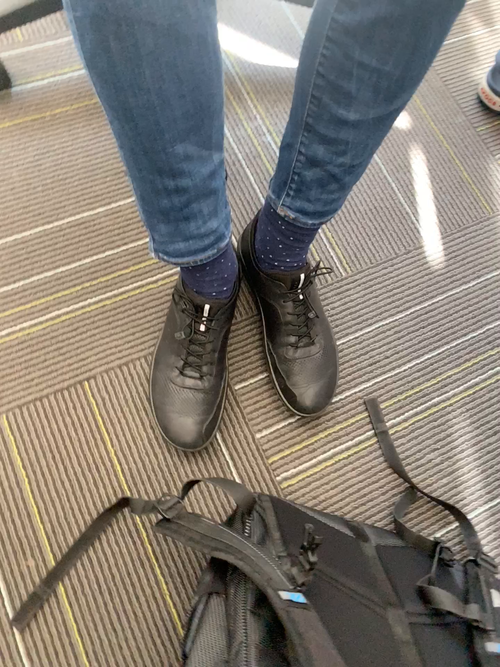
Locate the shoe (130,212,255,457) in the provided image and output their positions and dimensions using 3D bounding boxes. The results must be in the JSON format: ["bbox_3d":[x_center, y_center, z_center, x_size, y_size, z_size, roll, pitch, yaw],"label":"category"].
[{"bbox_3d":[-0.074,0.001,0.706,0.110,0.100,0.311,9,71,-4],"label":"shoe"}]

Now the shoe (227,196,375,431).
[{"bbox_3d":[0.062,-0.031,0.741,0.110,0.100,0.310,-13,74,-11],"label":"shoe"}]
